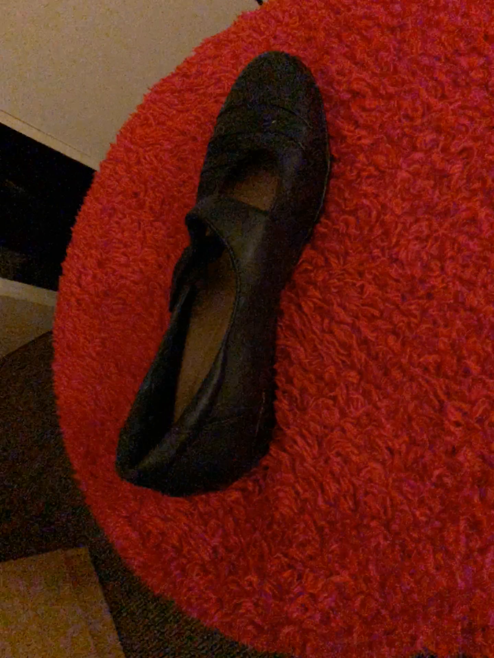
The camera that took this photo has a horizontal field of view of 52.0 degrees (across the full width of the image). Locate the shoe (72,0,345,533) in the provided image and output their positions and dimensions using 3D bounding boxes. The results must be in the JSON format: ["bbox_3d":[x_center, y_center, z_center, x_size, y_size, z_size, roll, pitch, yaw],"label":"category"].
[{"bbox_3d":[-0.015,-0.046,0.283,0.093,0.080,0.275,-1,79,37],"label":"shoe"}]
